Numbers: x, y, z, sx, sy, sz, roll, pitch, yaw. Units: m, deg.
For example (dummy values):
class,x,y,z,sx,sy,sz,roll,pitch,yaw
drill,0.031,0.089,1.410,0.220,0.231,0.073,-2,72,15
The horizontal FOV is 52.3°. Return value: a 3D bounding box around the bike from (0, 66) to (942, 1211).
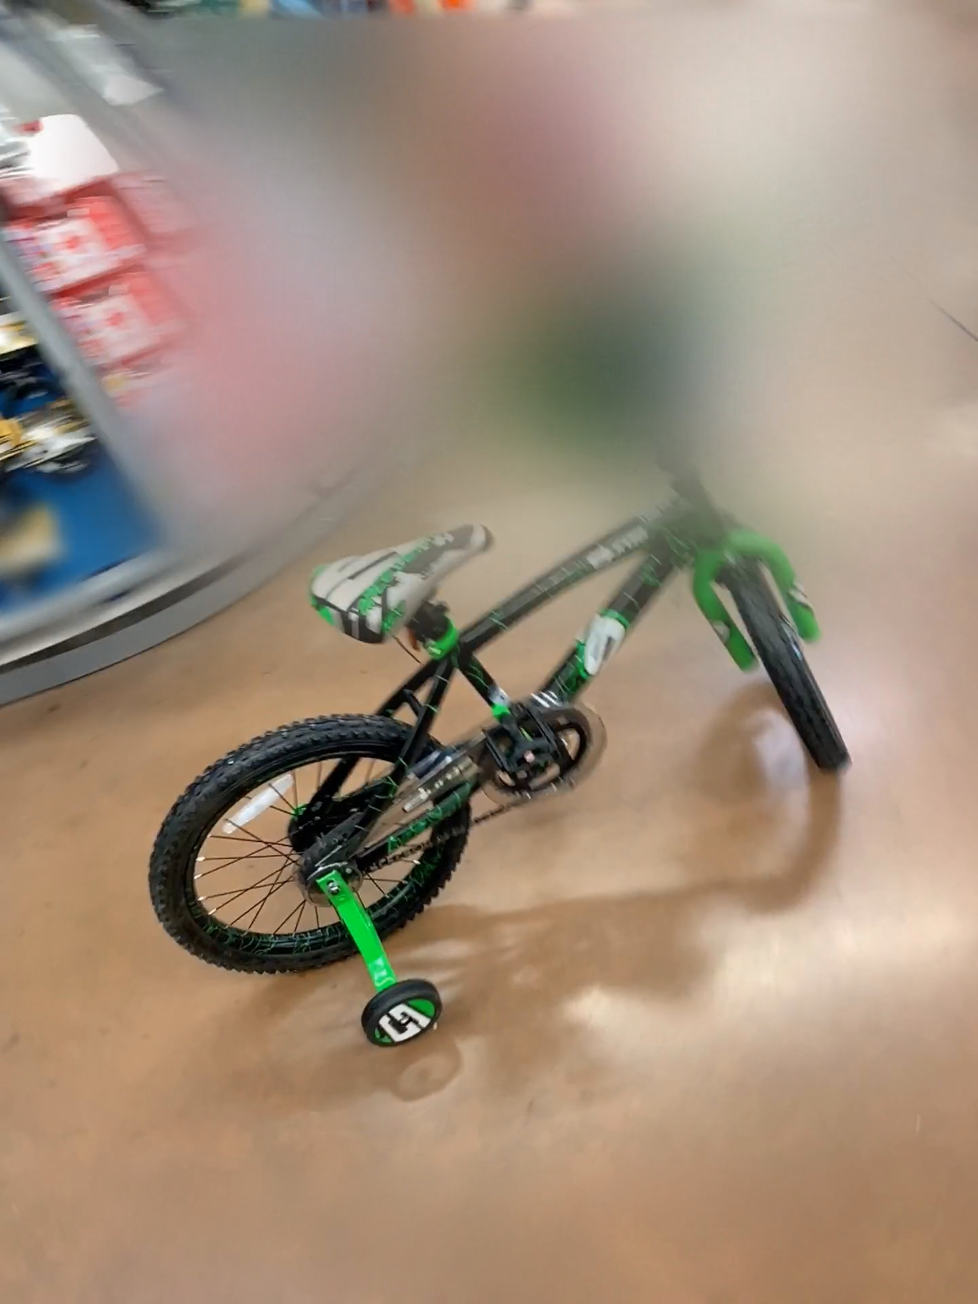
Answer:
class,x,y,z,sx,sy,sz,roll,pitch,yaw
bike,-0.035,-0.081,1.345,1.053,0.914,0.637,-31,46,-20
